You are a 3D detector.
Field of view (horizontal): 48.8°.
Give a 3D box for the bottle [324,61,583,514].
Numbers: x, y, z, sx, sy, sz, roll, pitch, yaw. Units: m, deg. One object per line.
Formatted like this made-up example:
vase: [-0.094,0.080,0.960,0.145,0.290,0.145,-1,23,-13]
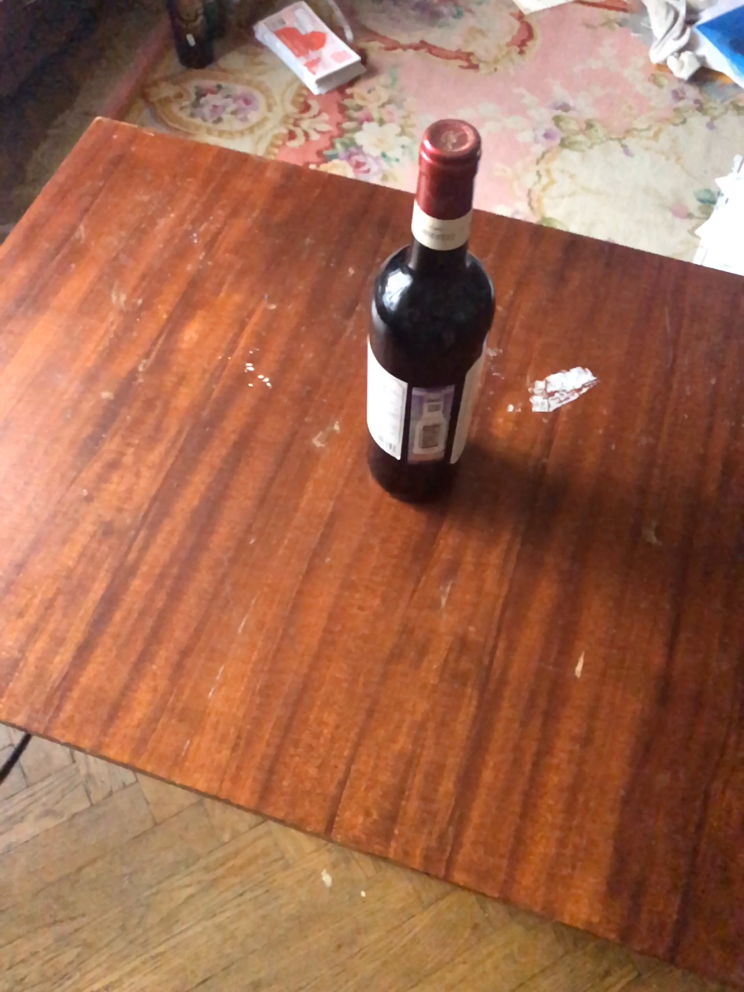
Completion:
bottle: [0.035,-0.099,0.490,0.090,0.269,0.090,0,63,0]
